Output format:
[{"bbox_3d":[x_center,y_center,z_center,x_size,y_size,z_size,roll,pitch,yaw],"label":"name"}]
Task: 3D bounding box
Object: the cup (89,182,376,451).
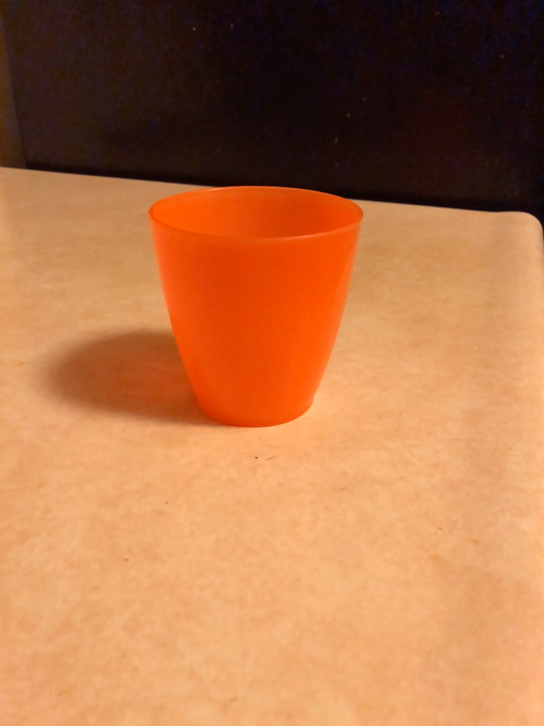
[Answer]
[{"bbox_3d":[-0.009,-0.024,0.235,0.080,0.070,0.080,0,27,0],"label":"cup"}]
